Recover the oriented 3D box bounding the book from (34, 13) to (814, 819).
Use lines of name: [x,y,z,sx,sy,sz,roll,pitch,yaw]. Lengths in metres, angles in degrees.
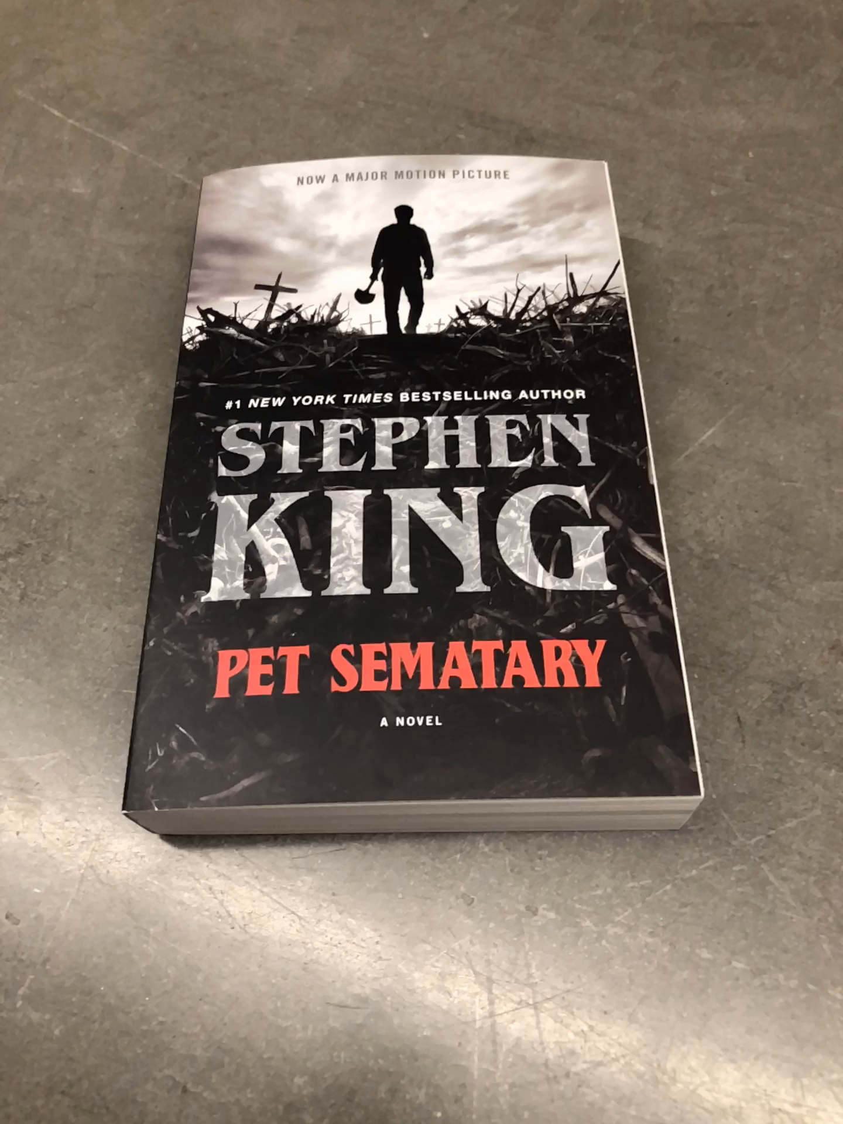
book: [-0.002,-0.048,0.256,0.160,0.050,0.221,-1,68,0]
